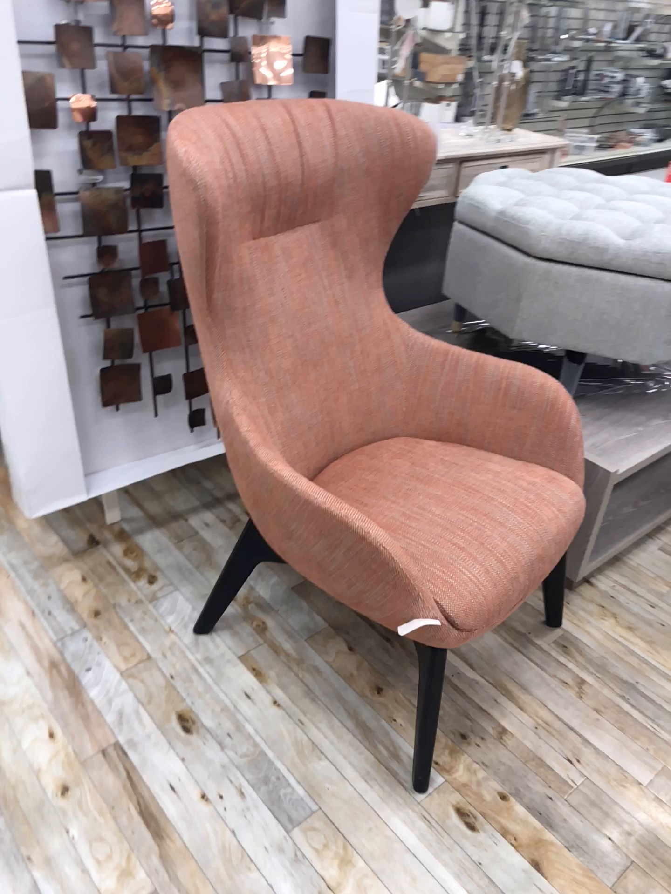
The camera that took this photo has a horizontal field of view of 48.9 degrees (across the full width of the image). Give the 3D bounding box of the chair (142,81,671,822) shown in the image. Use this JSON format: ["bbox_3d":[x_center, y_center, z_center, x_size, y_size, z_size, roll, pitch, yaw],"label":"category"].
[{"bbox_3d":[0.175,-0.068,1.441,0.751,1.065,0.692,26,37,31],"label":"chair"}]
